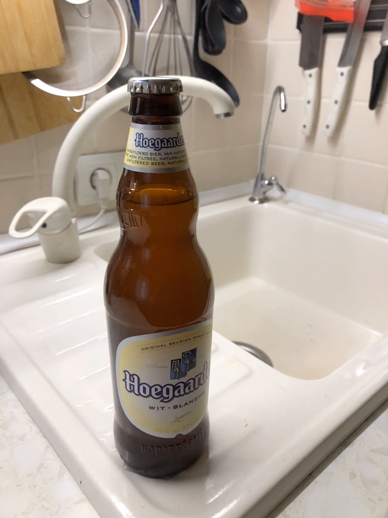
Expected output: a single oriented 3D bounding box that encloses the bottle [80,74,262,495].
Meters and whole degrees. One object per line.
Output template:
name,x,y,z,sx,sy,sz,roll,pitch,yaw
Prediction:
bottle,-0.016,0.019,0.252,0.070,0.231,0.060,-9,25,-22
